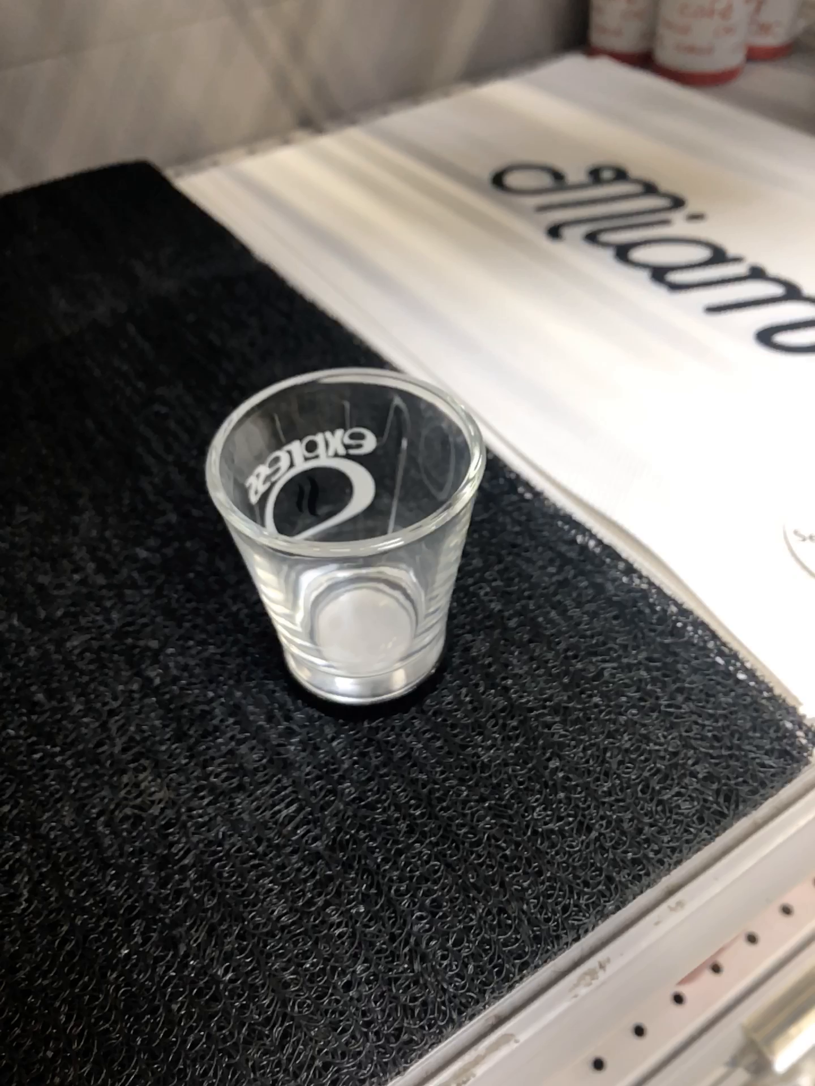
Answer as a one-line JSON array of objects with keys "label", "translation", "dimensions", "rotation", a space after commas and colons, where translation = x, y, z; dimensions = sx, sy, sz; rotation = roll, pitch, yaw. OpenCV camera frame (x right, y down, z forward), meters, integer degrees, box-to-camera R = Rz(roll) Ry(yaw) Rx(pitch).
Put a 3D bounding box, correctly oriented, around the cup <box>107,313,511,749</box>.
[{"label": "cup", "translation": [-0.014, -0.006, 0.222], "dimensions": [0.073, 0.059, 0.087], "rotation": [1, 45, 9]}]
